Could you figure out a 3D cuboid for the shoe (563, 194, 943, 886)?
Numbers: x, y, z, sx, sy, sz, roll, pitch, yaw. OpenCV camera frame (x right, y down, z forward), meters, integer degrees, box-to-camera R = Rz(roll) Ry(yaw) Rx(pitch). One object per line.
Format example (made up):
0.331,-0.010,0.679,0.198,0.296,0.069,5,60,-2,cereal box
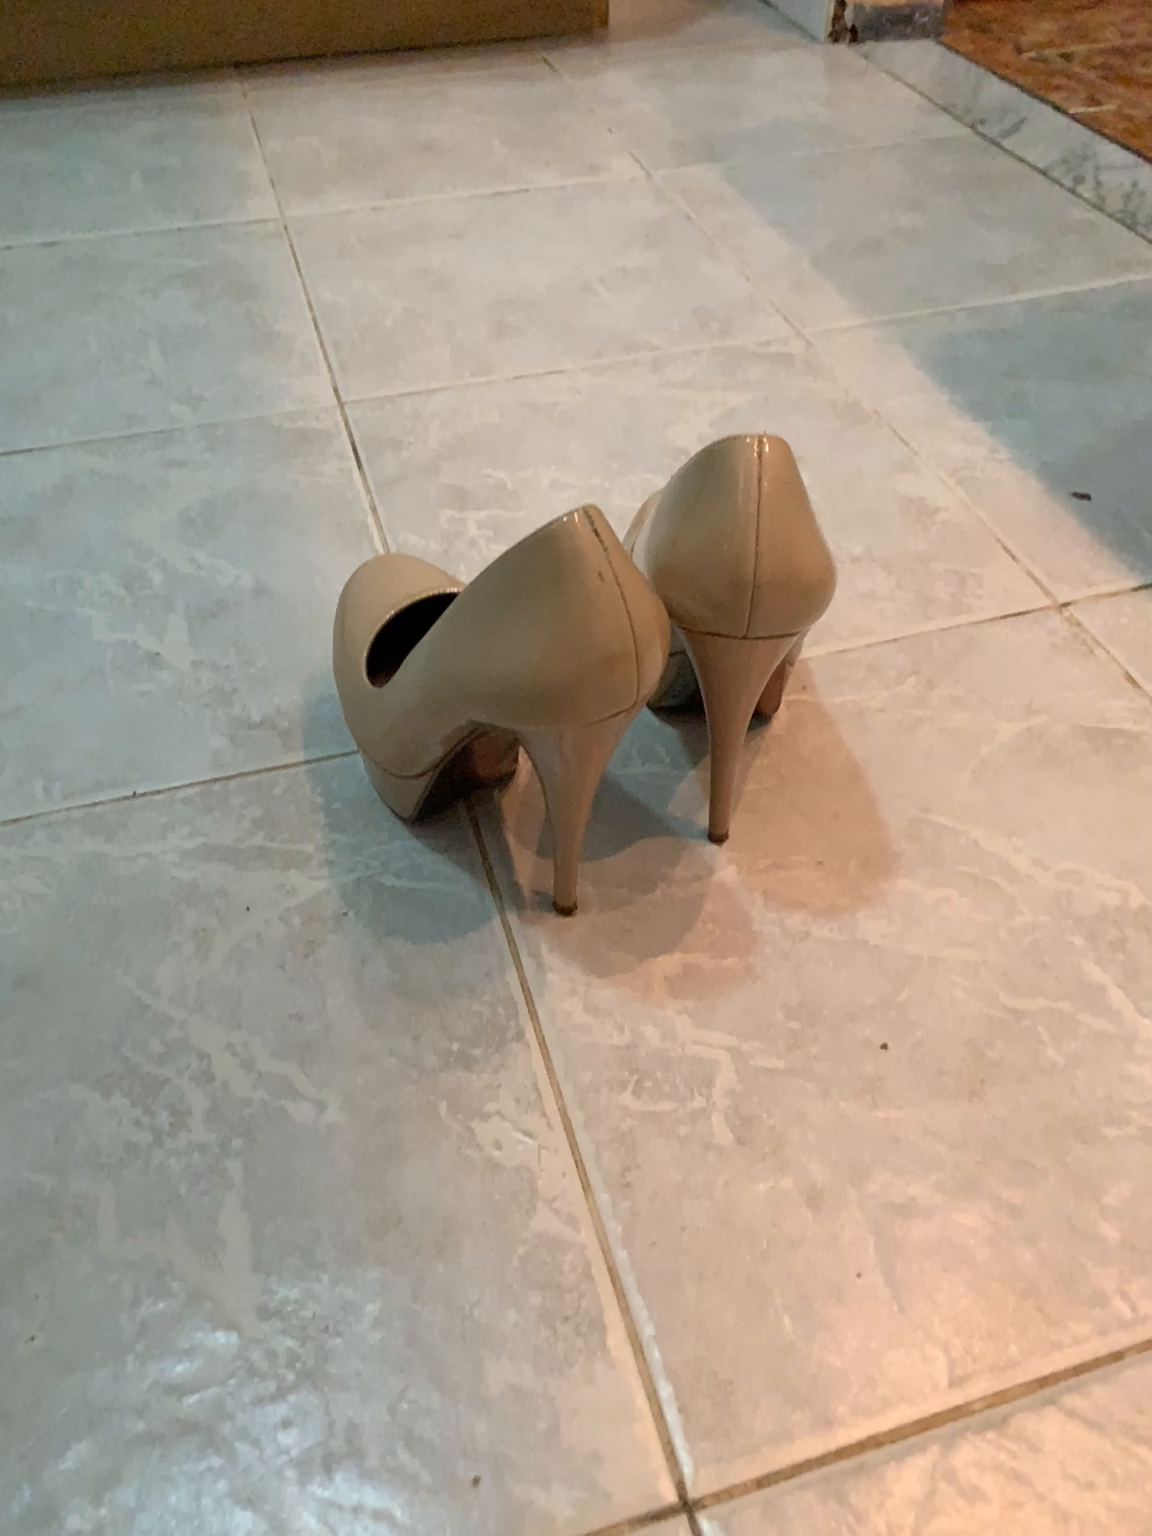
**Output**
0.049,-0.095,0.465,0.087,0.176,0.211,-4,45,-4,shoe

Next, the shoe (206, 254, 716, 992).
-0.048,-0.061,0.435,0.087,0.166,0.211,-20,48,-19,shoe
